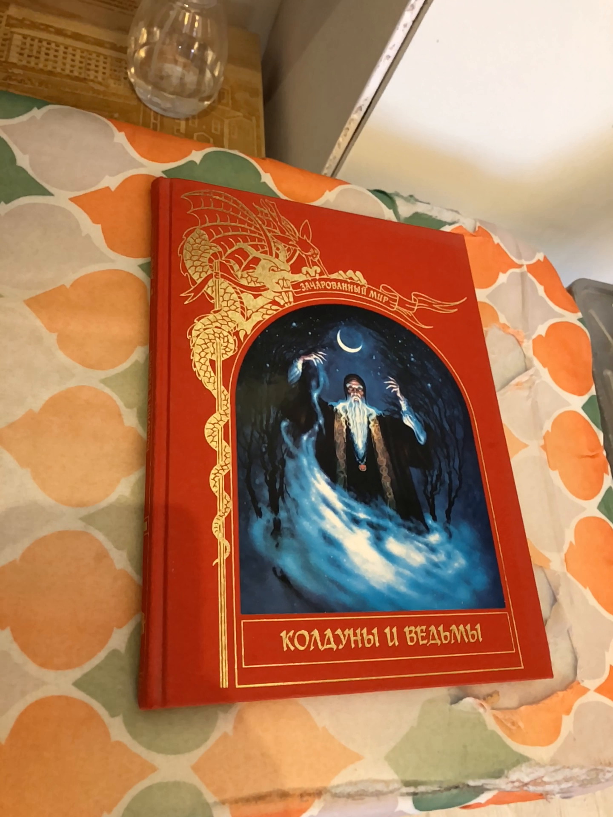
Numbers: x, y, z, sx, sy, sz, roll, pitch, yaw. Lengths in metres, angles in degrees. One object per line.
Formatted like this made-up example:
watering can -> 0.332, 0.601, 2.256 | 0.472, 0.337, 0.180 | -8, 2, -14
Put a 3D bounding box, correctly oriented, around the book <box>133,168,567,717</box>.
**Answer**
book -> 0.018, 0.004, 0.378 | 0.215, 0.020, 0.291 | 5, 64, -20
